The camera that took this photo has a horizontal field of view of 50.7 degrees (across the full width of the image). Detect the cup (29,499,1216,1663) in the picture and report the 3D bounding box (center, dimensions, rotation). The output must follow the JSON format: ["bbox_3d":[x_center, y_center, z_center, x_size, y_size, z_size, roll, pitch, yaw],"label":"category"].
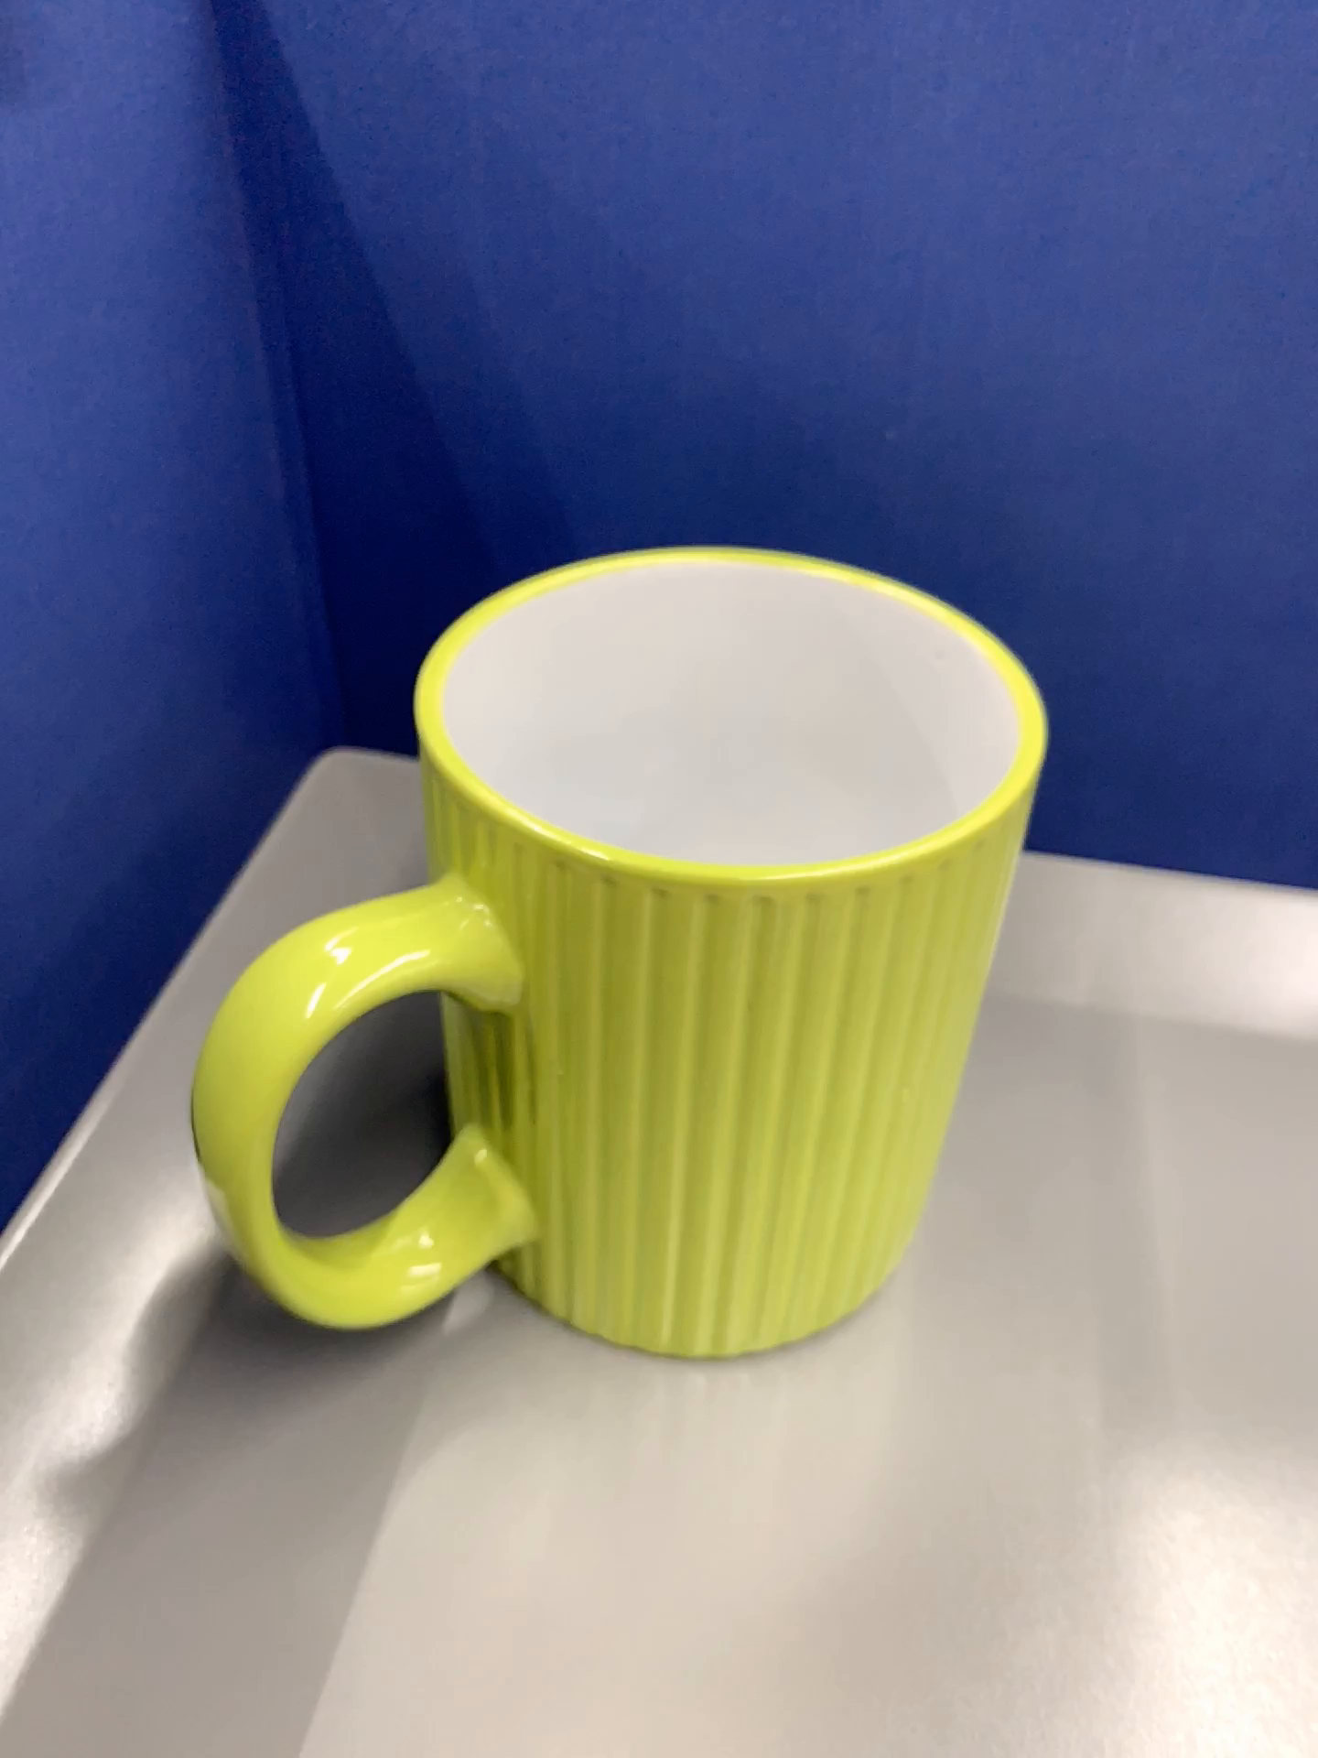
[{"bbox_3d":[-0.004,0.018,0.214,0.129,0.098,0.091,-25,44,-31],"label":"cup"}]
